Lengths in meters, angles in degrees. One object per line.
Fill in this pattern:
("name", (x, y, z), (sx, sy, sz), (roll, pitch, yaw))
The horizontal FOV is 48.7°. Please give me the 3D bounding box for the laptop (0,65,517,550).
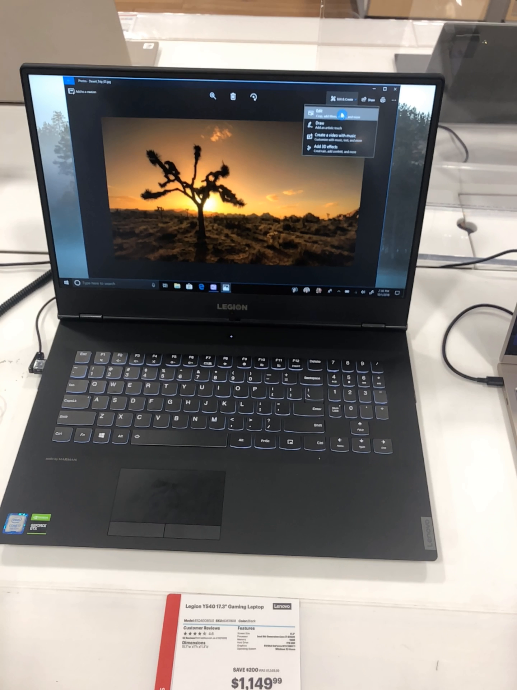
("laptop", (-0.030, -0.040, 0.521), (0.382, 0.242, 0.358), (2, 52, 0))
